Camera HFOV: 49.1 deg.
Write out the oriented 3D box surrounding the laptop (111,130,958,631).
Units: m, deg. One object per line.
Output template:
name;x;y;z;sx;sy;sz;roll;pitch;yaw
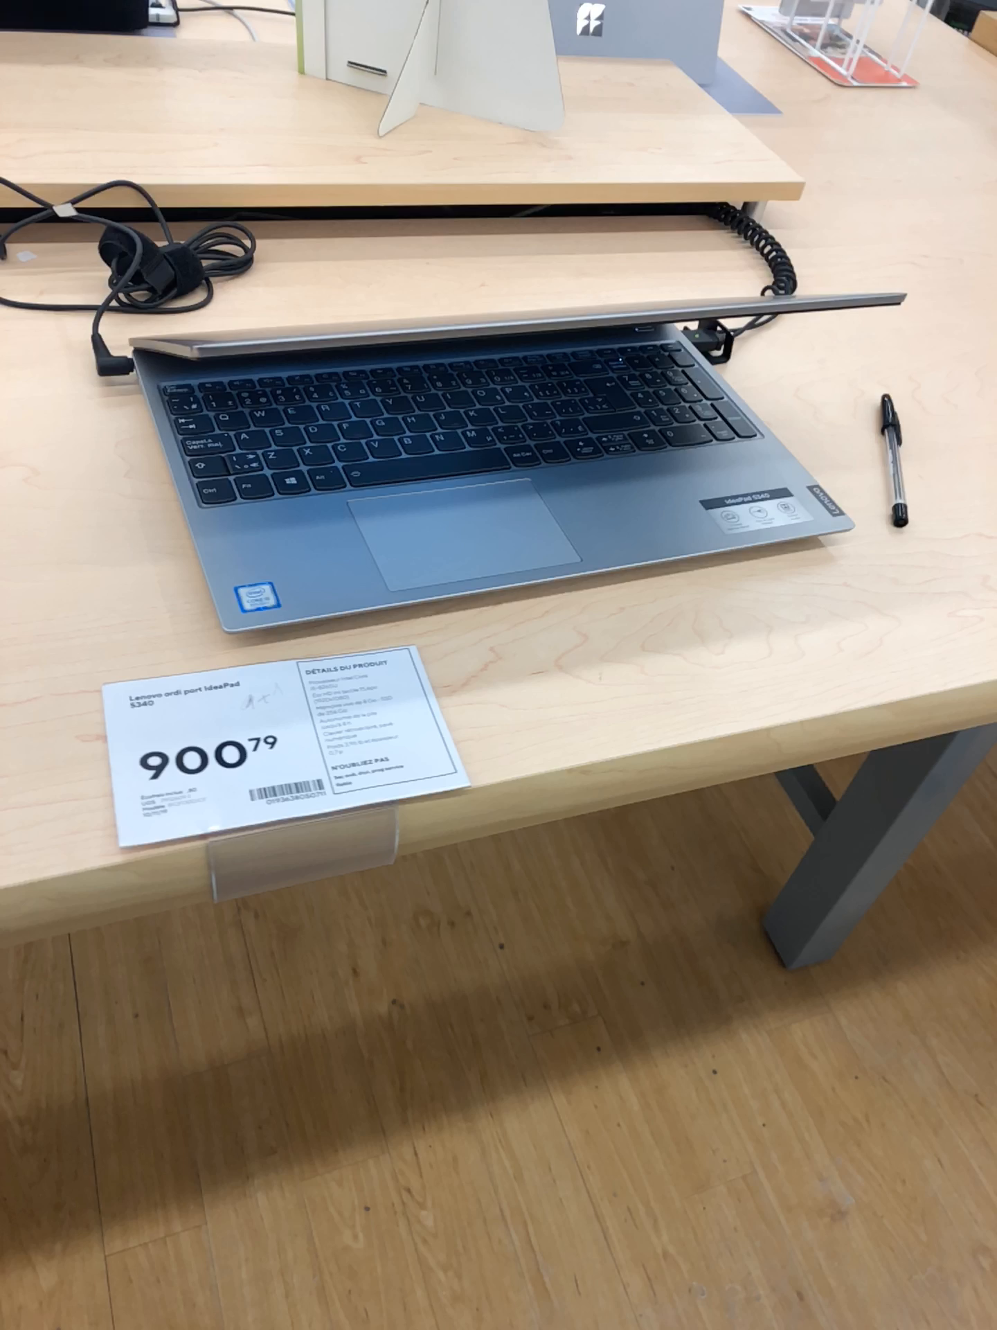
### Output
laptop;0.005;-0.170;0.574;0.351;0.122;0.234;-11;50;-22
